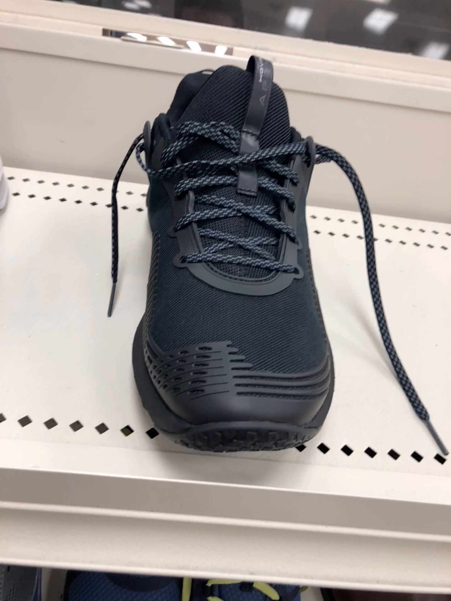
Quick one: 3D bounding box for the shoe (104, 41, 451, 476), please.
[{"bbox_3d":[0.007,-0.075,0.334,0.120,0.129,0.353,5,32,-7],"label":"shoe"}]
